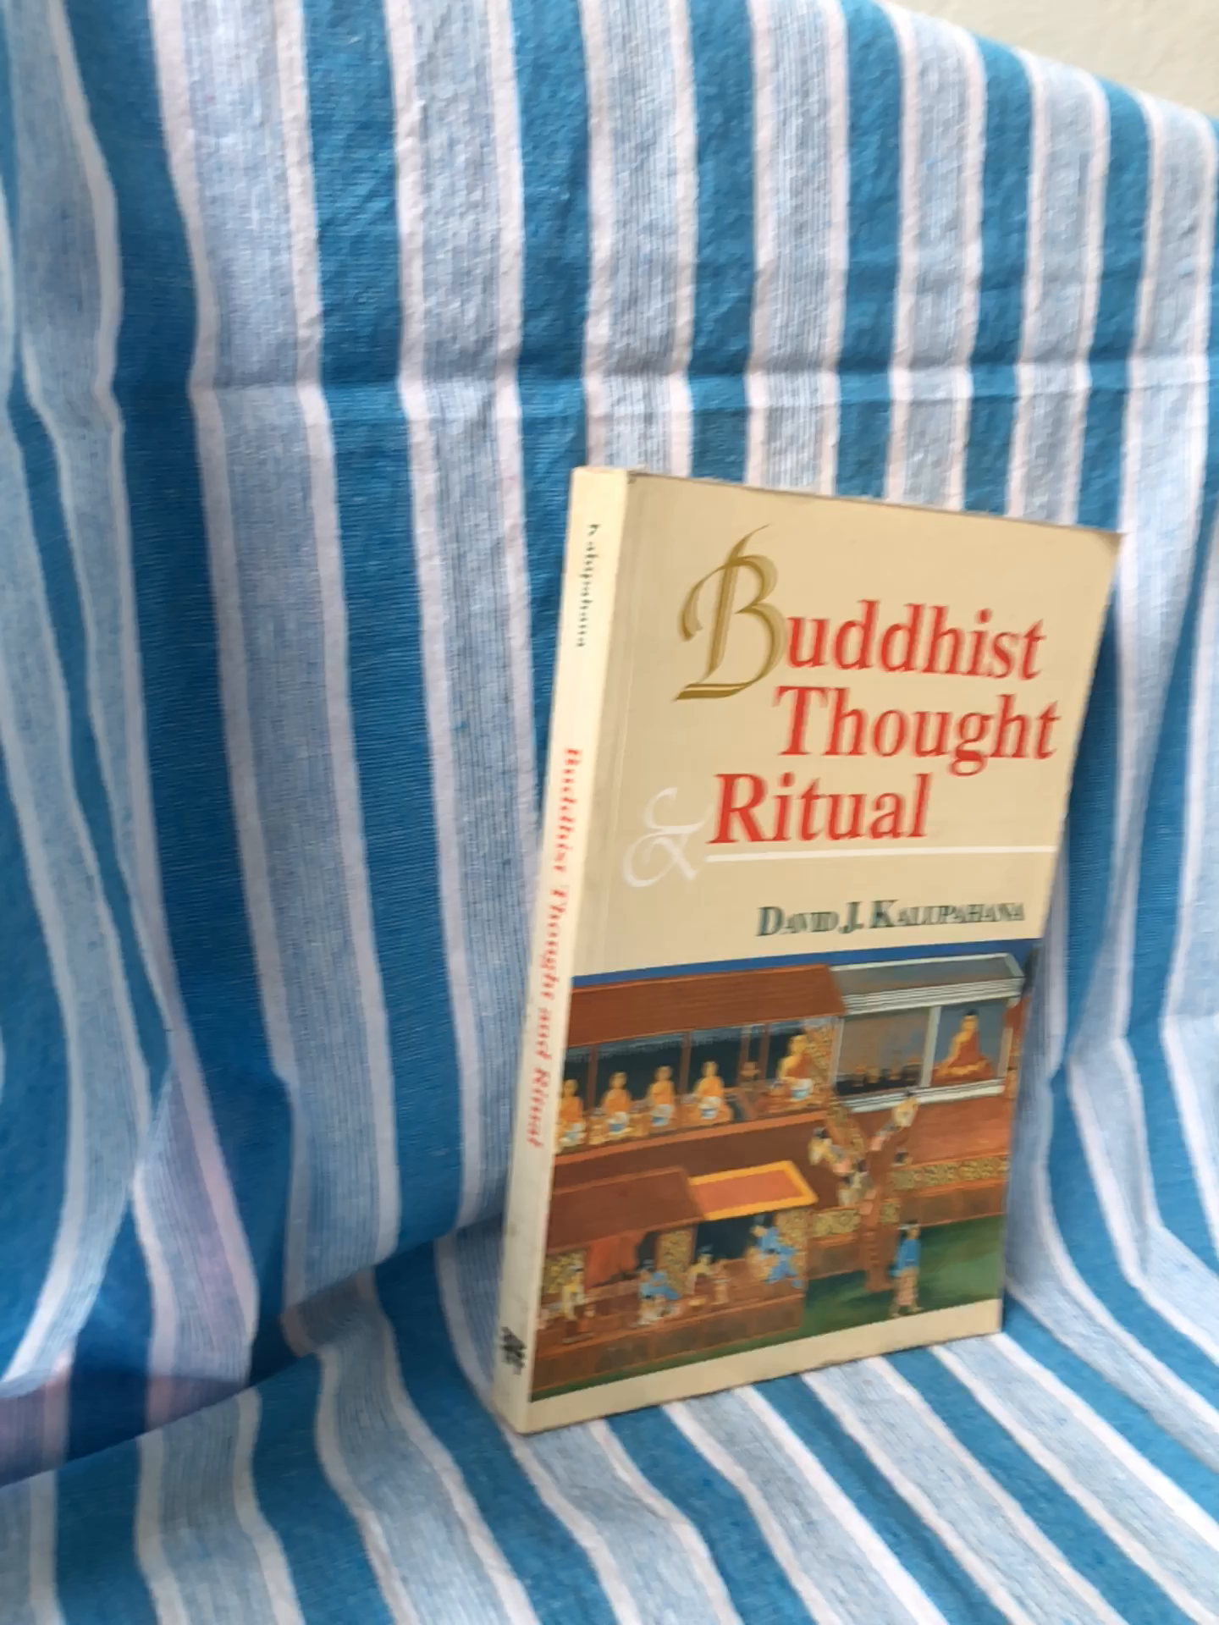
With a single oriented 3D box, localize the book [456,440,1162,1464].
[{"bbox_3d":[0.048,0.035,0.320,0.150,0.219,0.020,0,14,-28],"label":"book"}]
